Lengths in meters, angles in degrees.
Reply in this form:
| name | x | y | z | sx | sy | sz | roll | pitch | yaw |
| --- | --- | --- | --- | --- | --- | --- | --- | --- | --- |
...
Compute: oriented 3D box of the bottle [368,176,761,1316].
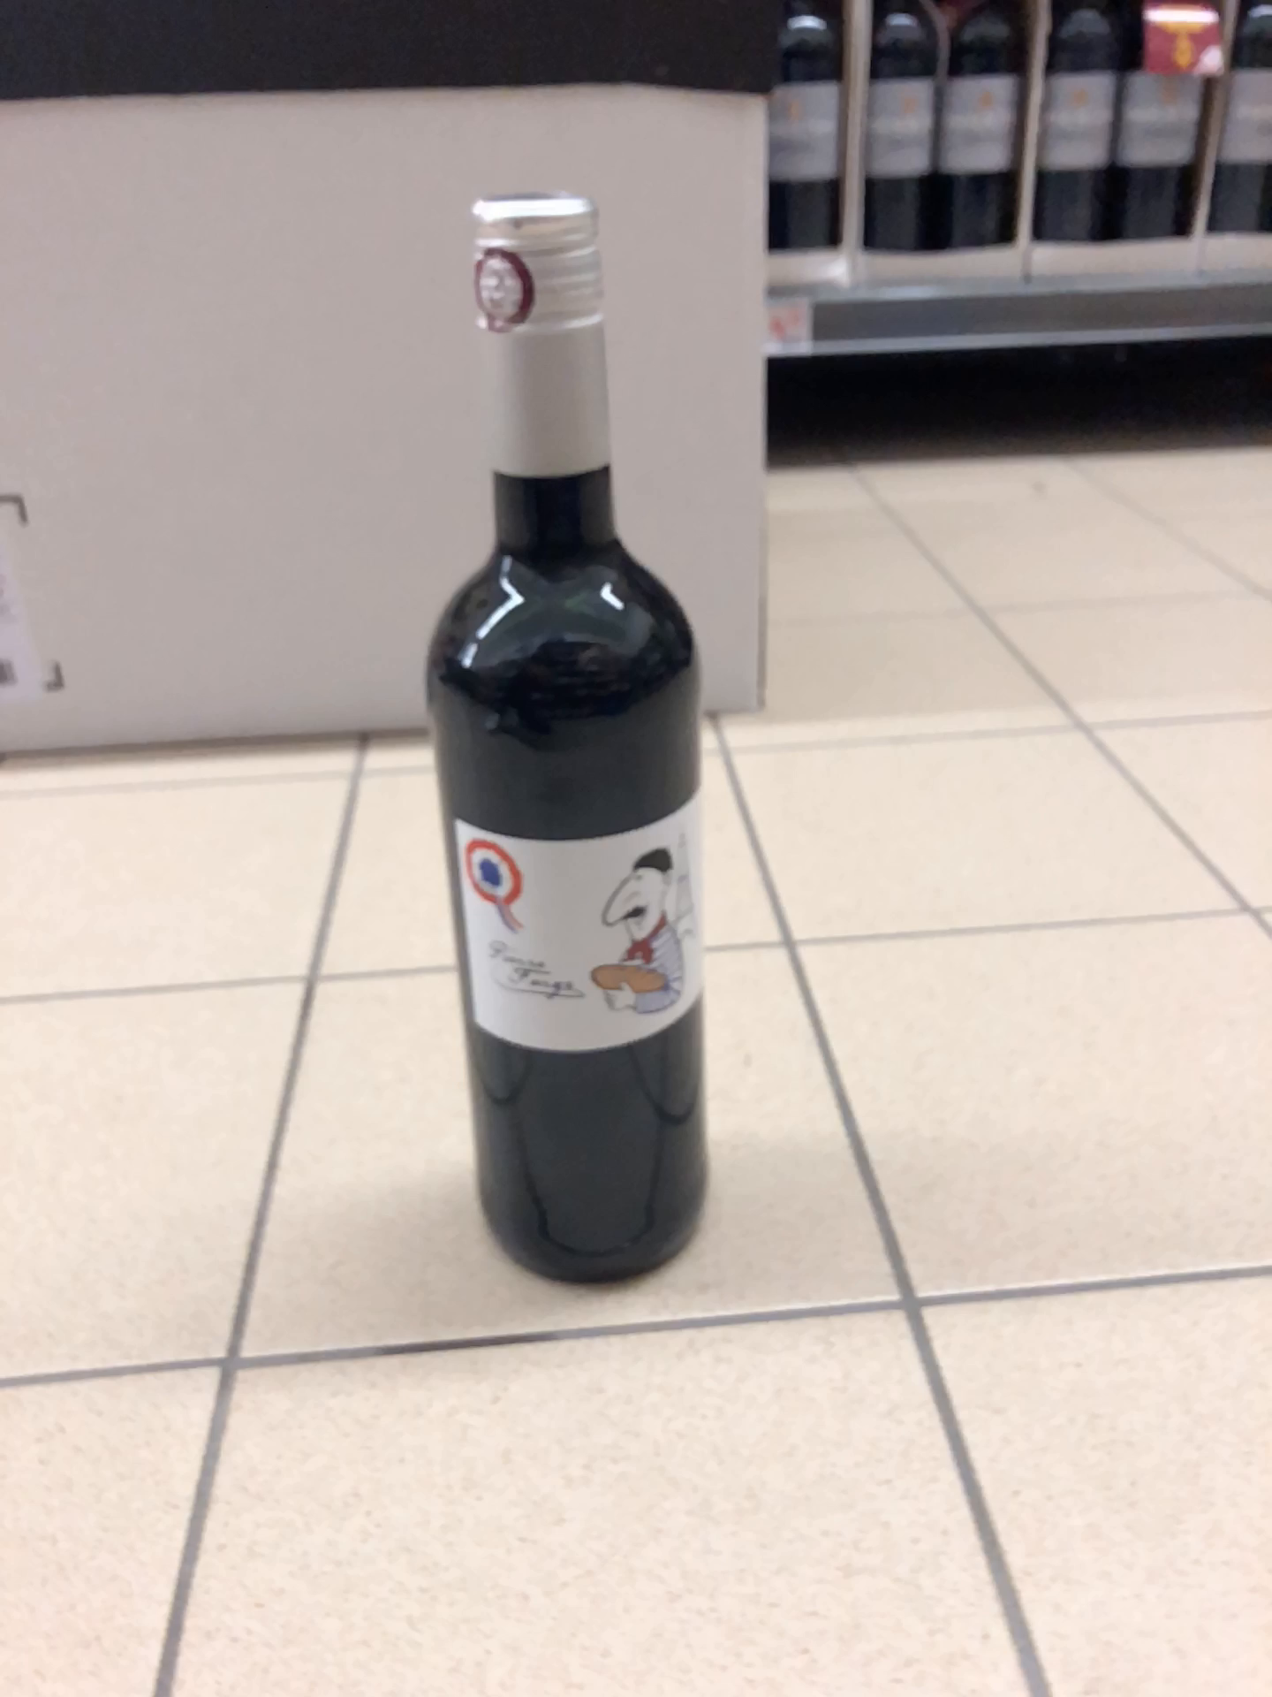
| name | x | y | z | sx | sy | sz | roll | pitch | yaw |
| --- | --- | --- | --- | --- | --- | --- | --- | --- | --- |
| bottle | -0.016 | -0.017 | 0.392 | 0.080 | 0.298 | 0.080 | -2 | 27 | 1 |
